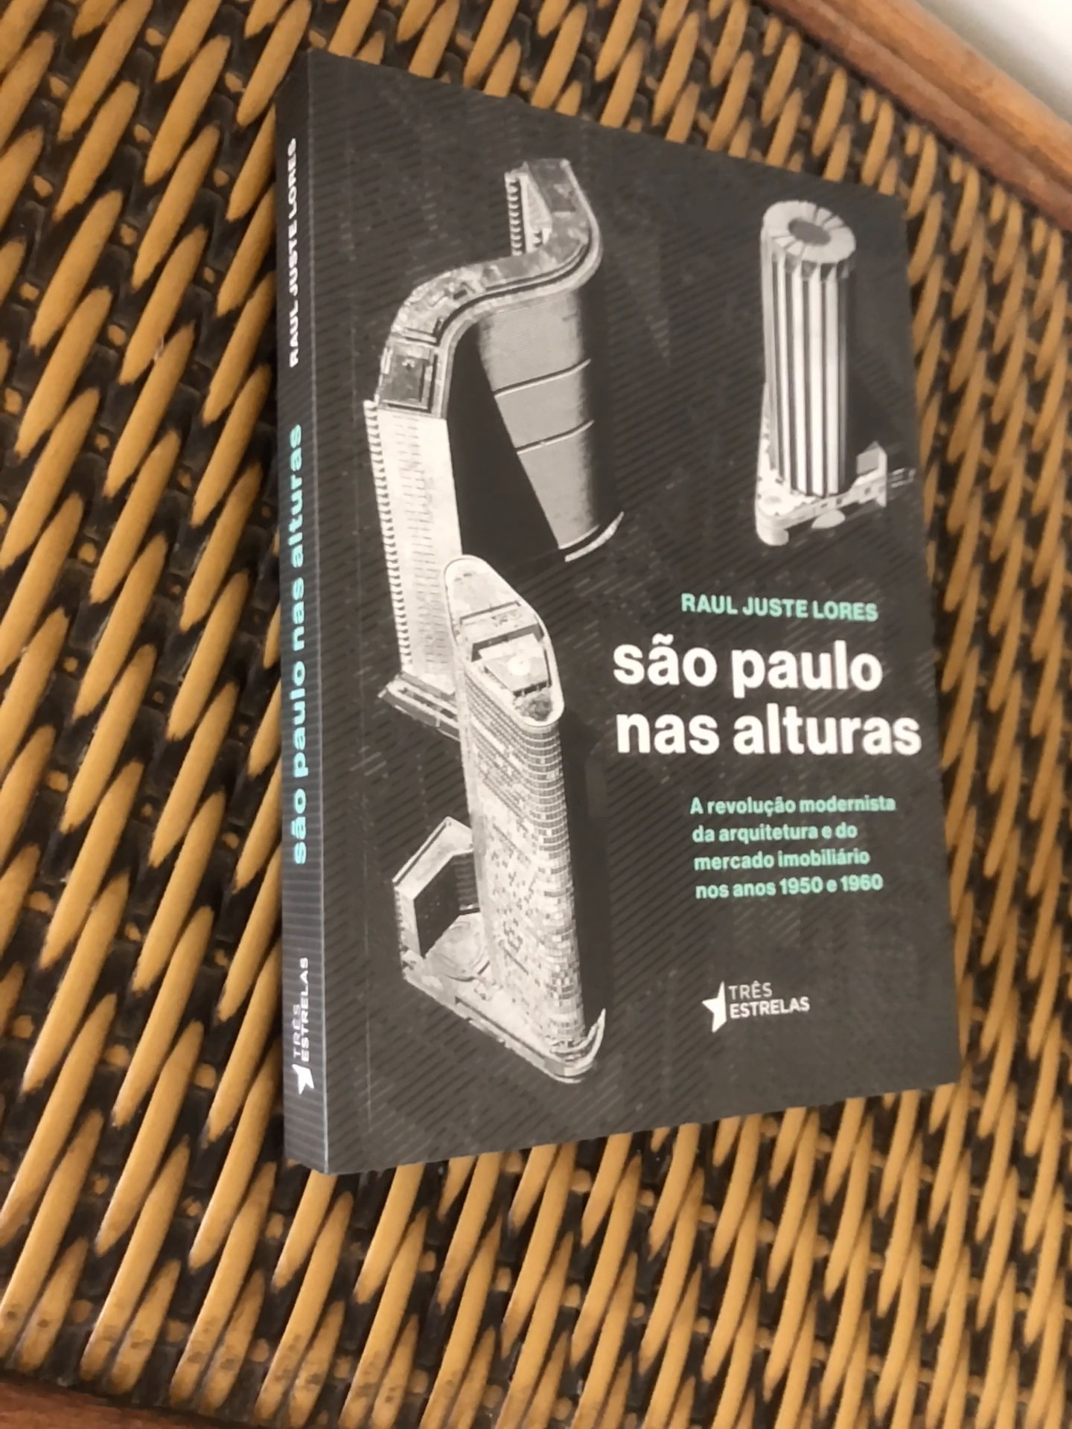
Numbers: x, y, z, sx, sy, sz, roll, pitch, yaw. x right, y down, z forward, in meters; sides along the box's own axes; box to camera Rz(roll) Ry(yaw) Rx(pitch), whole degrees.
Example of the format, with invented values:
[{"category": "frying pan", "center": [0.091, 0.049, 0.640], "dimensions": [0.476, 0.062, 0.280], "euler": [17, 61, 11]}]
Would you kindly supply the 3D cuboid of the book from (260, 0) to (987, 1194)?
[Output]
[{"category": "book", "center": [0.024, -0.025, 0.262], "dimensions": [0.161, 0.030, 0.221], "euler": [1, 86, -25]}]
